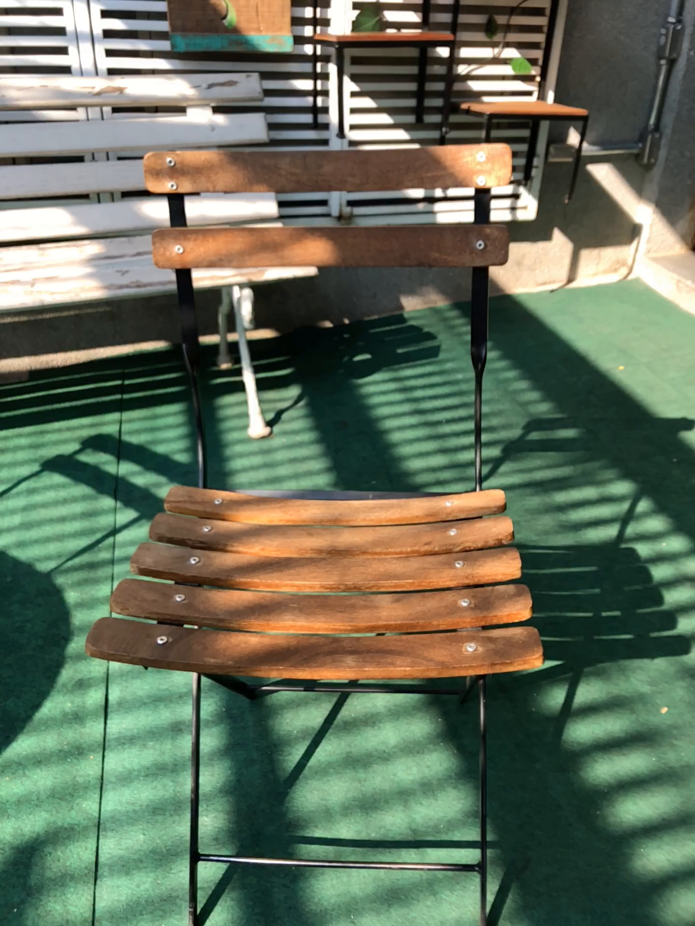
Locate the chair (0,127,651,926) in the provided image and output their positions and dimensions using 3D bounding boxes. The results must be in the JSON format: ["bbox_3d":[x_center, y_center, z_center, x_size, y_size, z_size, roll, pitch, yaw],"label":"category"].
[{"bbox_3d":[-0.024,0.071,0.721,0.390,0.655,0.403,0,30,4],"label":"chair"}]
